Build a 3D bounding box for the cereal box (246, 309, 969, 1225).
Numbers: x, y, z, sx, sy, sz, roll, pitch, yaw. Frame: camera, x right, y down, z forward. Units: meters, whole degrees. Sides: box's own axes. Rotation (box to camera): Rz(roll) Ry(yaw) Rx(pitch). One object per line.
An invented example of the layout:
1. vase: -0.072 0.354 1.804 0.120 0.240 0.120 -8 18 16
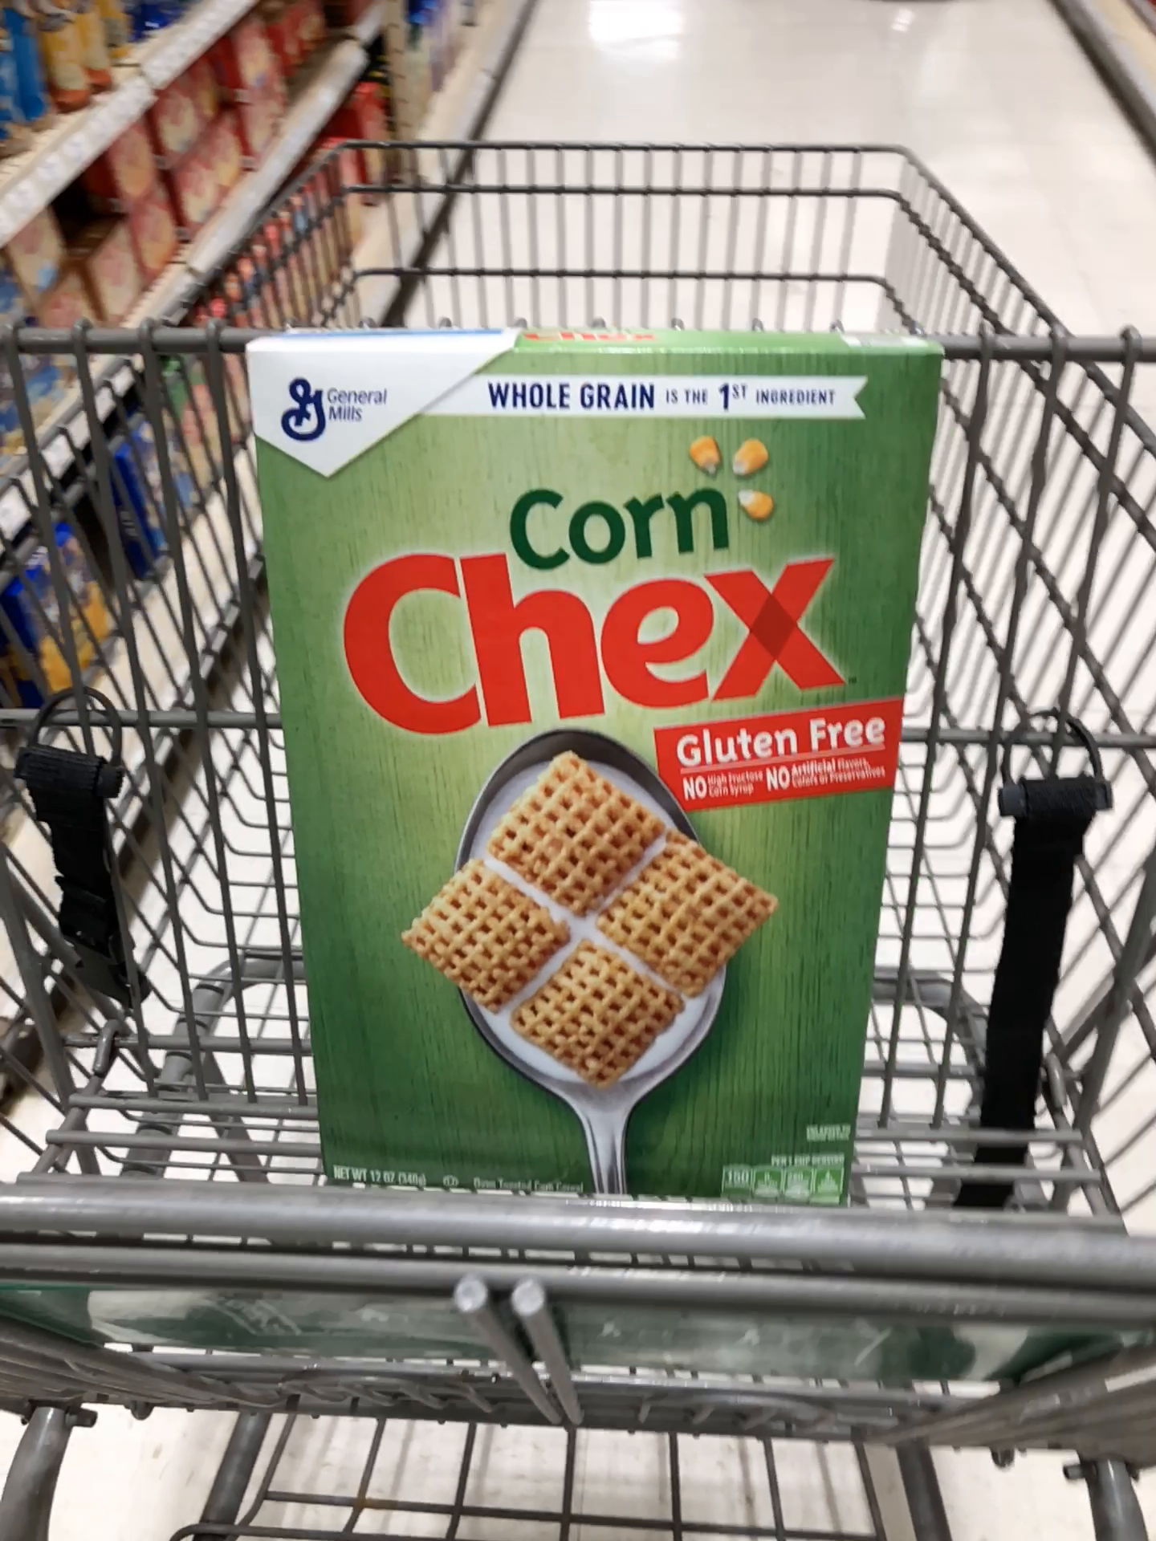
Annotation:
1. cereal box: 0.008 0.007 0.439 0.200 0.310 0.060 2 22 4
